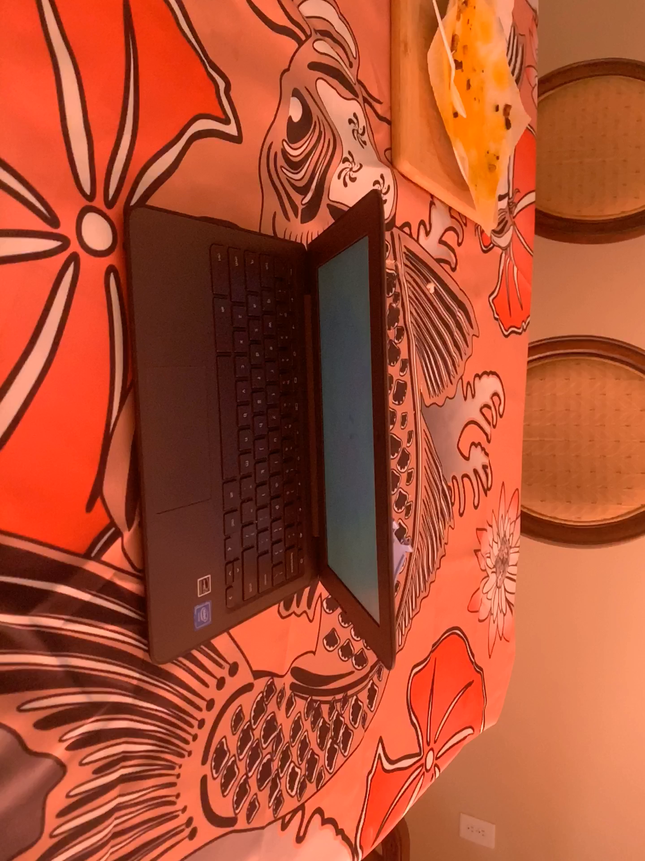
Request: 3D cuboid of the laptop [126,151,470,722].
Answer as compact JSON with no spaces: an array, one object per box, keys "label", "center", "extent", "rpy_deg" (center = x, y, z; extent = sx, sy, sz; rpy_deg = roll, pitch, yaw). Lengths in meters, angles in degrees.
[{"label":"laptop","center":[0.000,-0.001,0.474],"extent":[0.212,0.144,0.299],"rpy_deg":[-11,100,-59]}]
